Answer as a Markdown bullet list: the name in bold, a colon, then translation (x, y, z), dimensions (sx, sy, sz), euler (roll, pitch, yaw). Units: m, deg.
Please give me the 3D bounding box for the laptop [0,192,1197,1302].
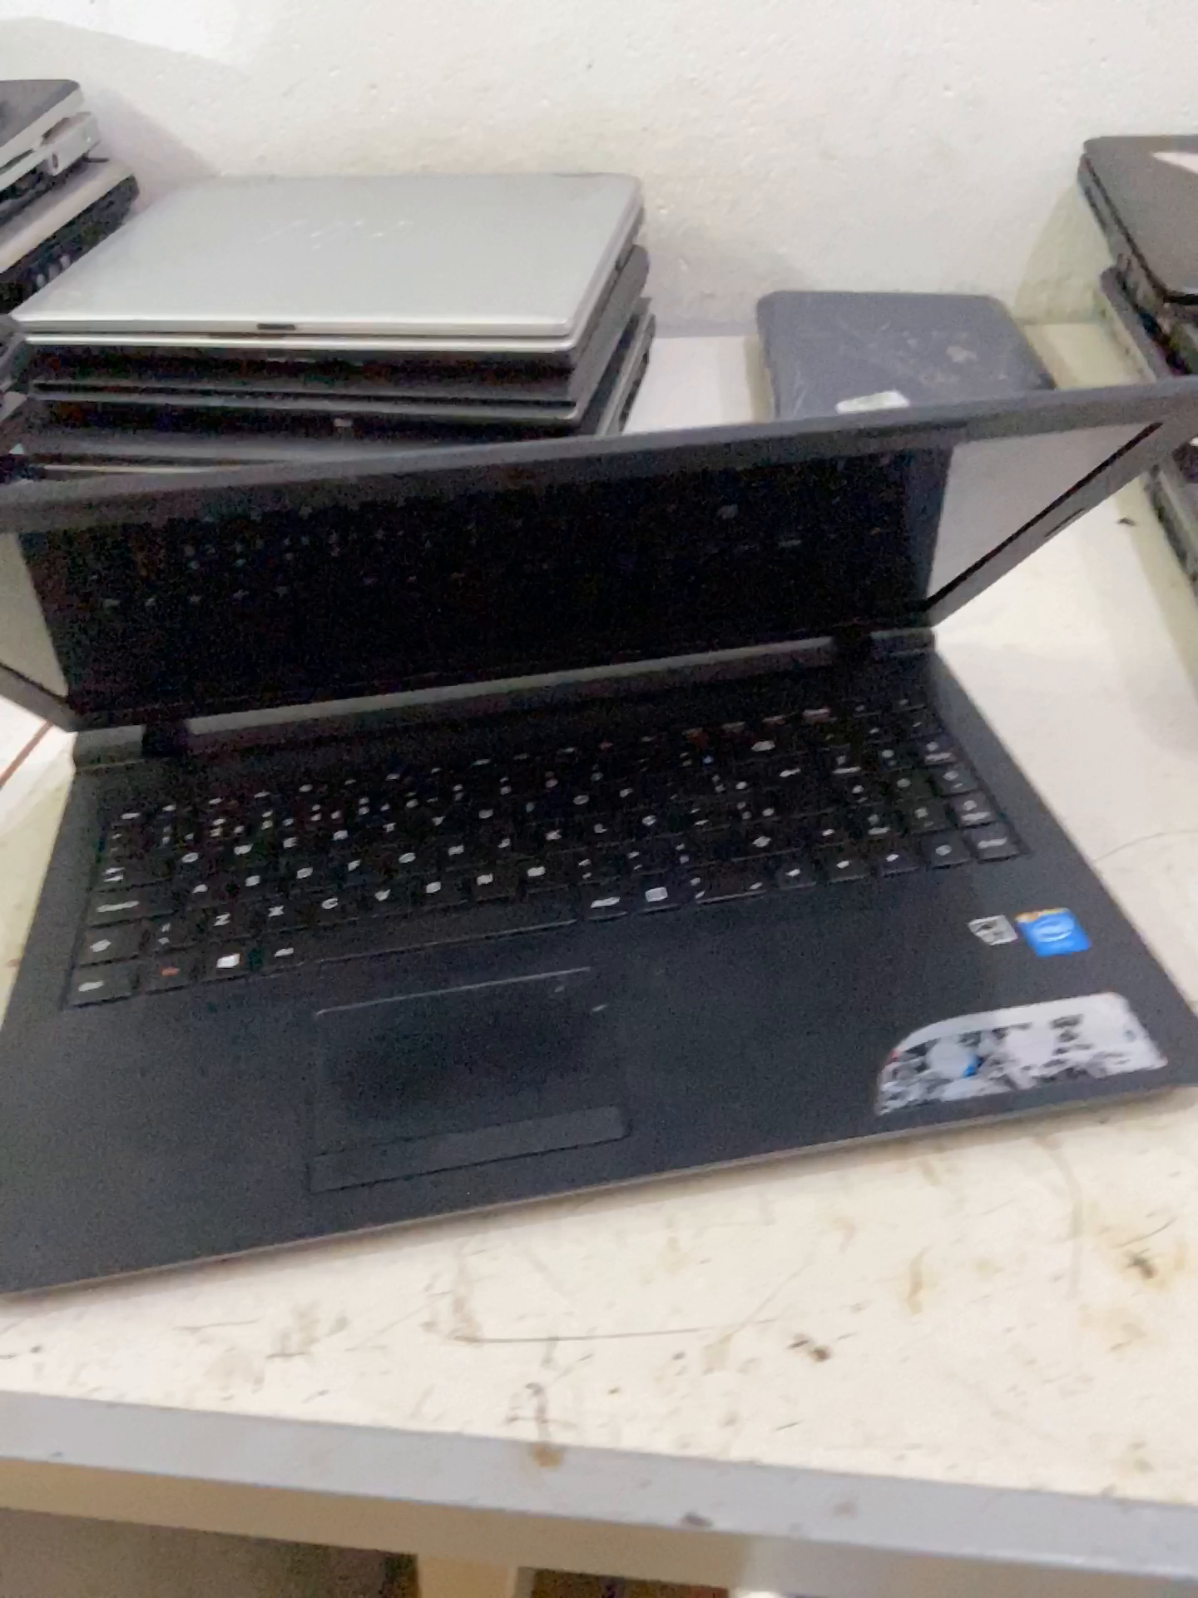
- **laptop**: translation (-0.021, -0.043, 0.393), dimensions (0.376, 0.189, 0.259), euler (-8, 39, -6)
